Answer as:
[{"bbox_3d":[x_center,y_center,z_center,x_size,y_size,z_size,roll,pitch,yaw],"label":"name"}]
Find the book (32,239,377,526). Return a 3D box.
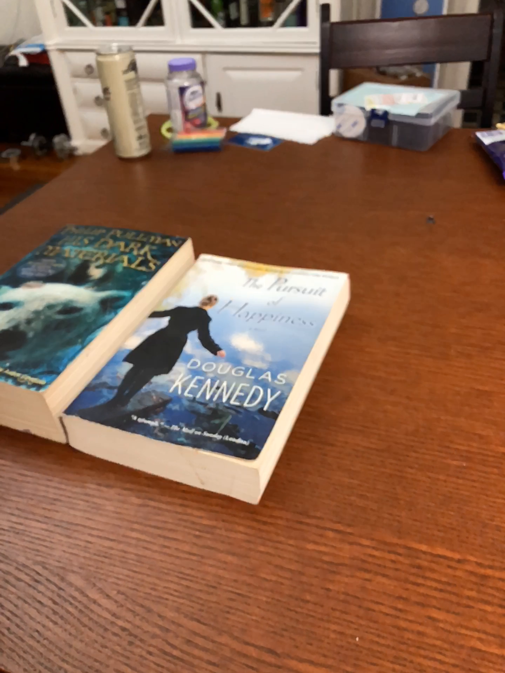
[{"bbox_3d":[-0.018,0.010,0.454,0.180,0.040,0.251,11,41,20],"label":"book"}]

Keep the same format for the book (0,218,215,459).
[{"bbox_3d":[-0.171,-0.021,0.519,0.180,0.050,0.251,11,41,20],"label":"book"}]
